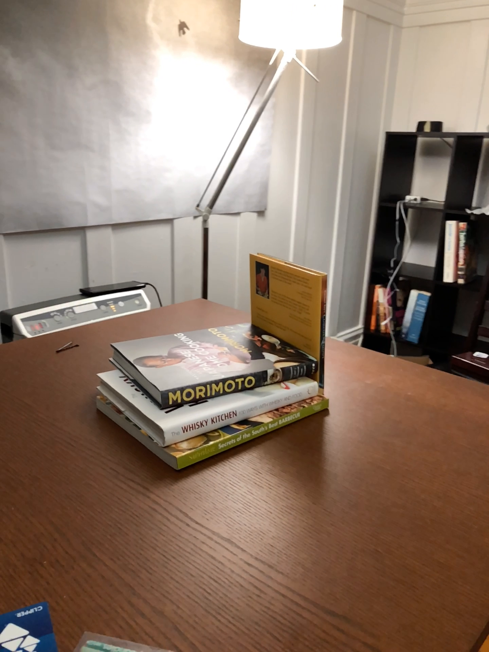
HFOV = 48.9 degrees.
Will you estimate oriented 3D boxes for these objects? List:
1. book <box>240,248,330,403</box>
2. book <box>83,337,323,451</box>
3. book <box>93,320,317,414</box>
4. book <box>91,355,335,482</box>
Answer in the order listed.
[{"bbox_3d":[0.060,-0.009,0.906,0.030,0.209,0.211,-11,21,-29],"label":"book"},{"bbox_3d":[-0.061,0.084,0.802,0.281,0.030,0.221,-11,22,-37],"label":"book"},{"bbox_3d":[-0.065,0.051,0.852,0.280,0.030,0.221,-8,21,-33],"label":"book"},{"bbox_3d":[-0.045,0.117,0.792,0.281,0.030,0.220,-12,23,-40],"label":"book"}]
